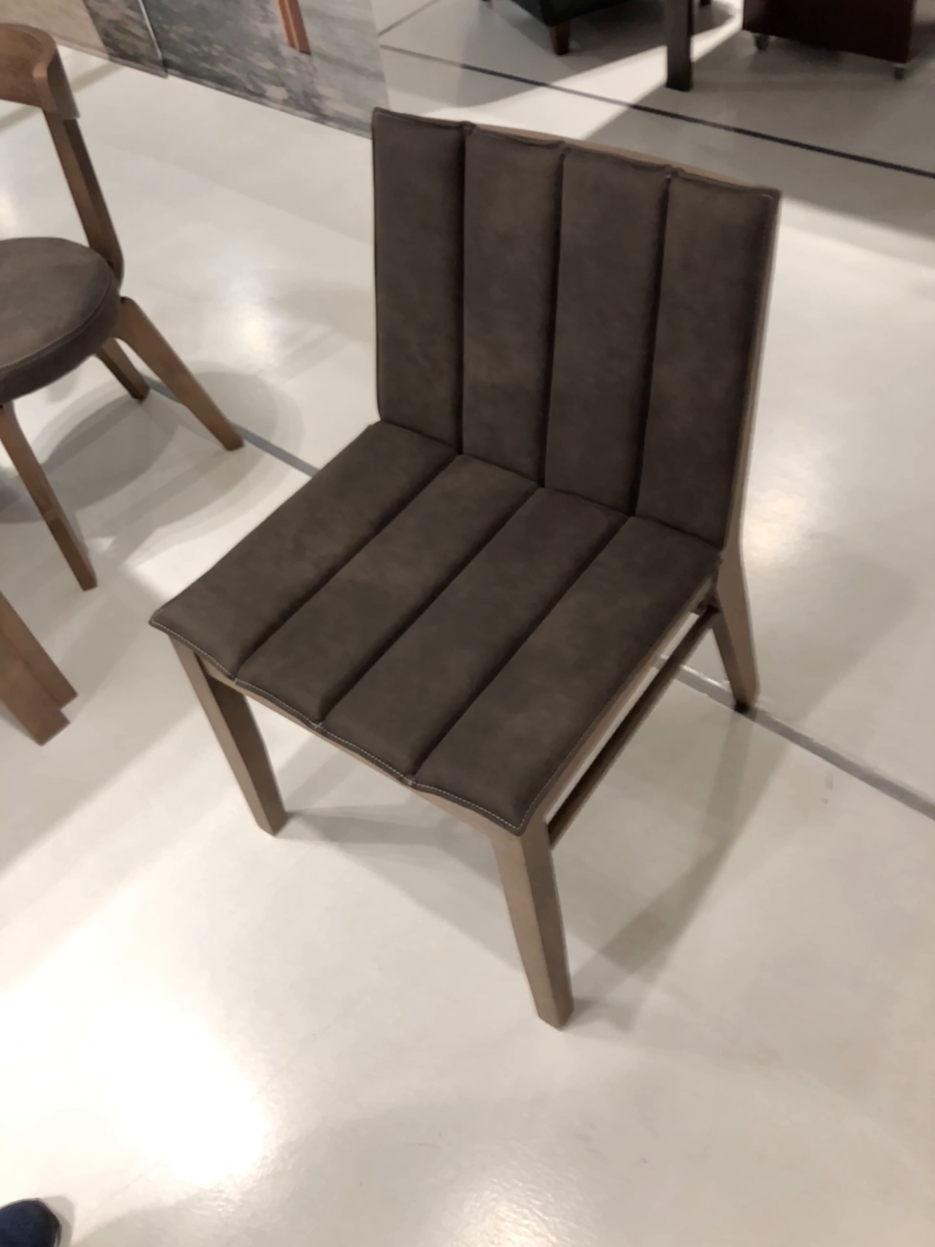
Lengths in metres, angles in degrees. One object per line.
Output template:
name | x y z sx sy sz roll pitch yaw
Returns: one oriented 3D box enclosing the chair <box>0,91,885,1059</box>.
chair | 0.028 -0.039 1.156 0.541 0.775 0.572 25 59 29
